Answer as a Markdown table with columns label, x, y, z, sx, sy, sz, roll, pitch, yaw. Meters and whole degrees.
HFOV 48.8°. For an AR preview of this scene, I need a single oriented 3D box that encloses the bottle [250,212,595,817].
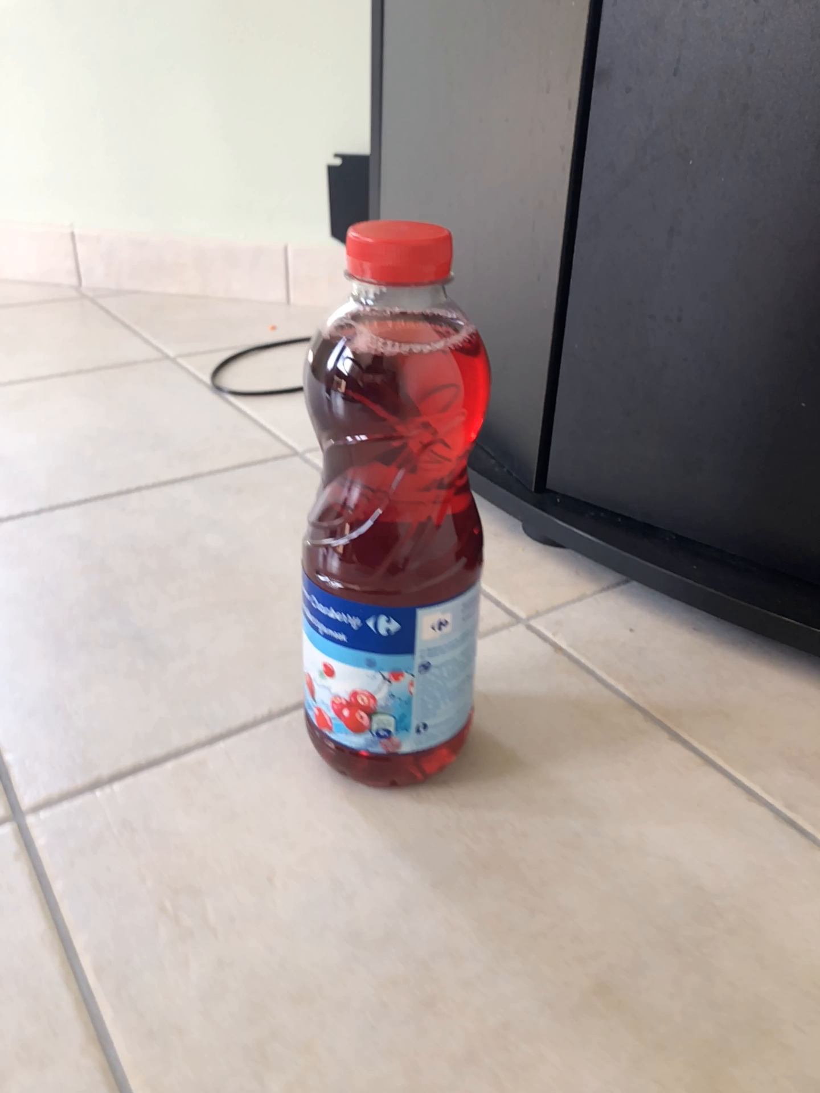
| label | x | y | z | sx | sy | sz | roll | pitch | yaw |
| --- | --- | --- | --- | --- | --- | --- | --- | --- | --- |
| bottle | 0.000 | -0.014 | 0.406 | 0.100 | 0.239 | 0.090 | -16 | 34 | -29 |
